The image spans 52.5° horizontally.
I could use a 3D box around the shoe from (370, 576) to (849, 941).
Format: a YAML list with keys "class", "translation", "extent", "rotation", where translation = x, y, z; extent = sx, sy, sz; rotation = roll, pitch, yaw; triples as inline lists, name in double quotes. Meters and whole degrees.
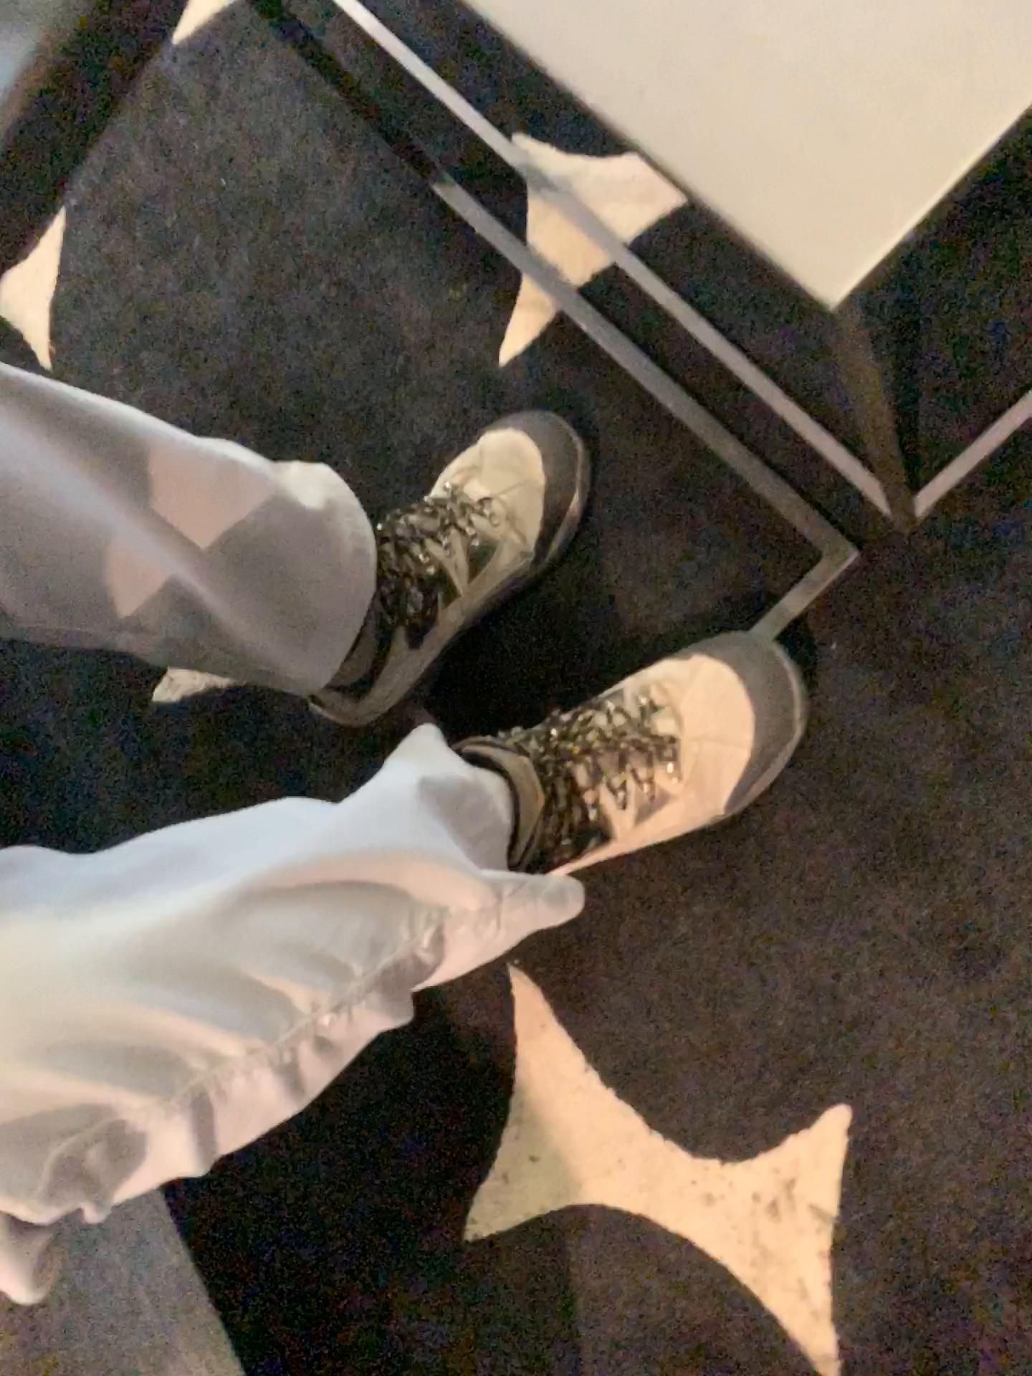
- class: "shoe"
  translation: [0.060, 0.055, 0.709]
  extent: [0.285, 0.090, 0.123]
  rotation: [-28, 73, 16]

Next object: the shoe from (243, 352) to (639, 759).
- class: "shoe"
  translation: [-0.063, -0.094, 0.818]
  extent: [0.304, 0.080, 0.121]
  rotation: [-46, 67, 14]
